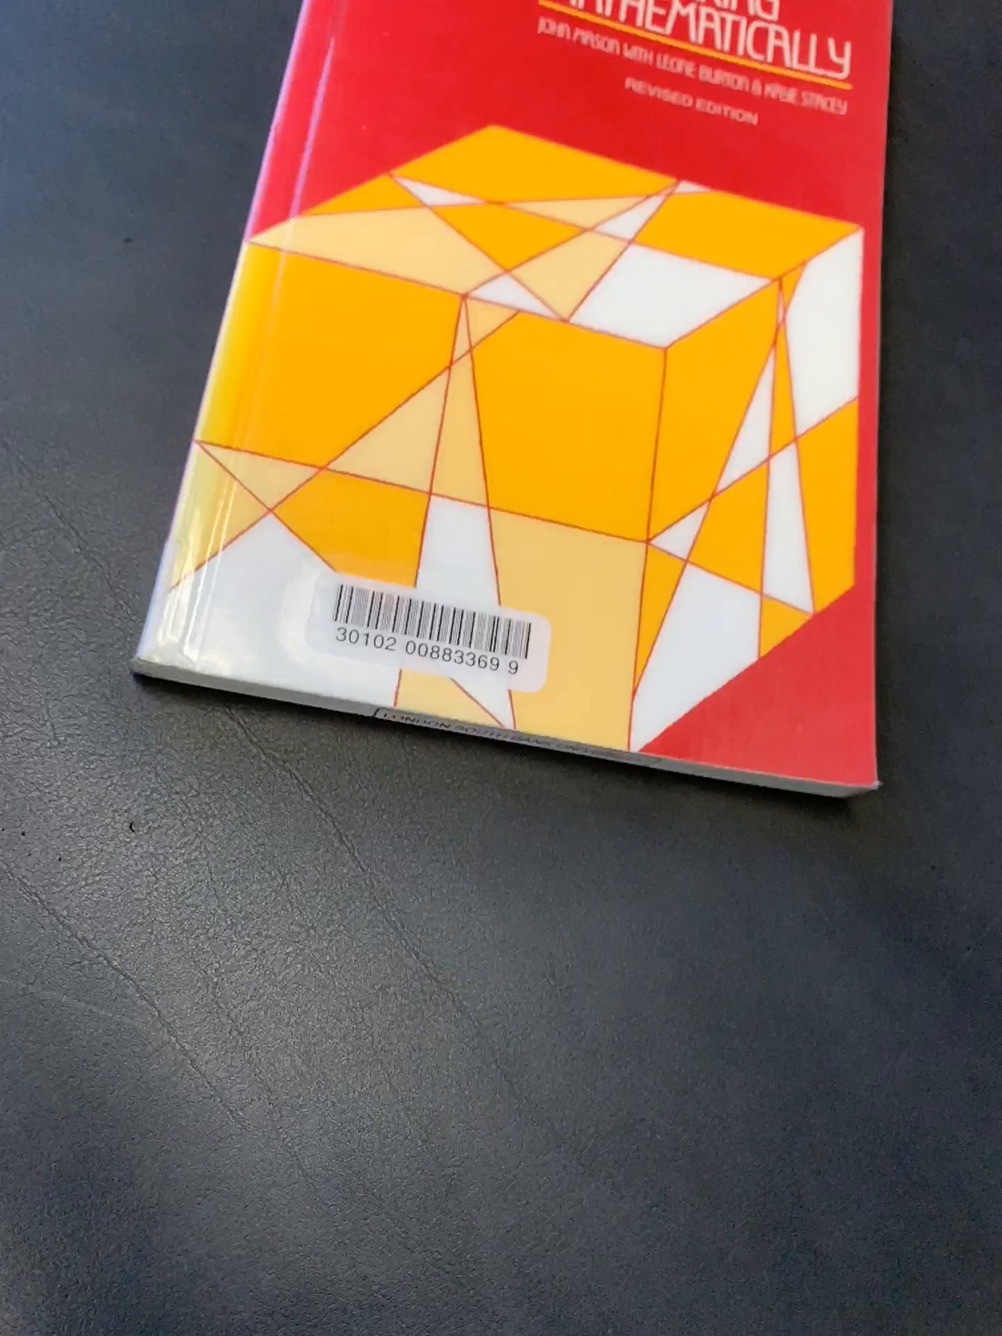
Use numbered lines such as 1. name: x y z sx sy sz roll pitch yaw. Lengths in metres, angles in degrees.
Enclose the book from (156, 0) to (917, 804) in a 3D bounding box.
1. book: 0.024 -0.095 0.252 0.156 0.016 0.232 10 72 -8
